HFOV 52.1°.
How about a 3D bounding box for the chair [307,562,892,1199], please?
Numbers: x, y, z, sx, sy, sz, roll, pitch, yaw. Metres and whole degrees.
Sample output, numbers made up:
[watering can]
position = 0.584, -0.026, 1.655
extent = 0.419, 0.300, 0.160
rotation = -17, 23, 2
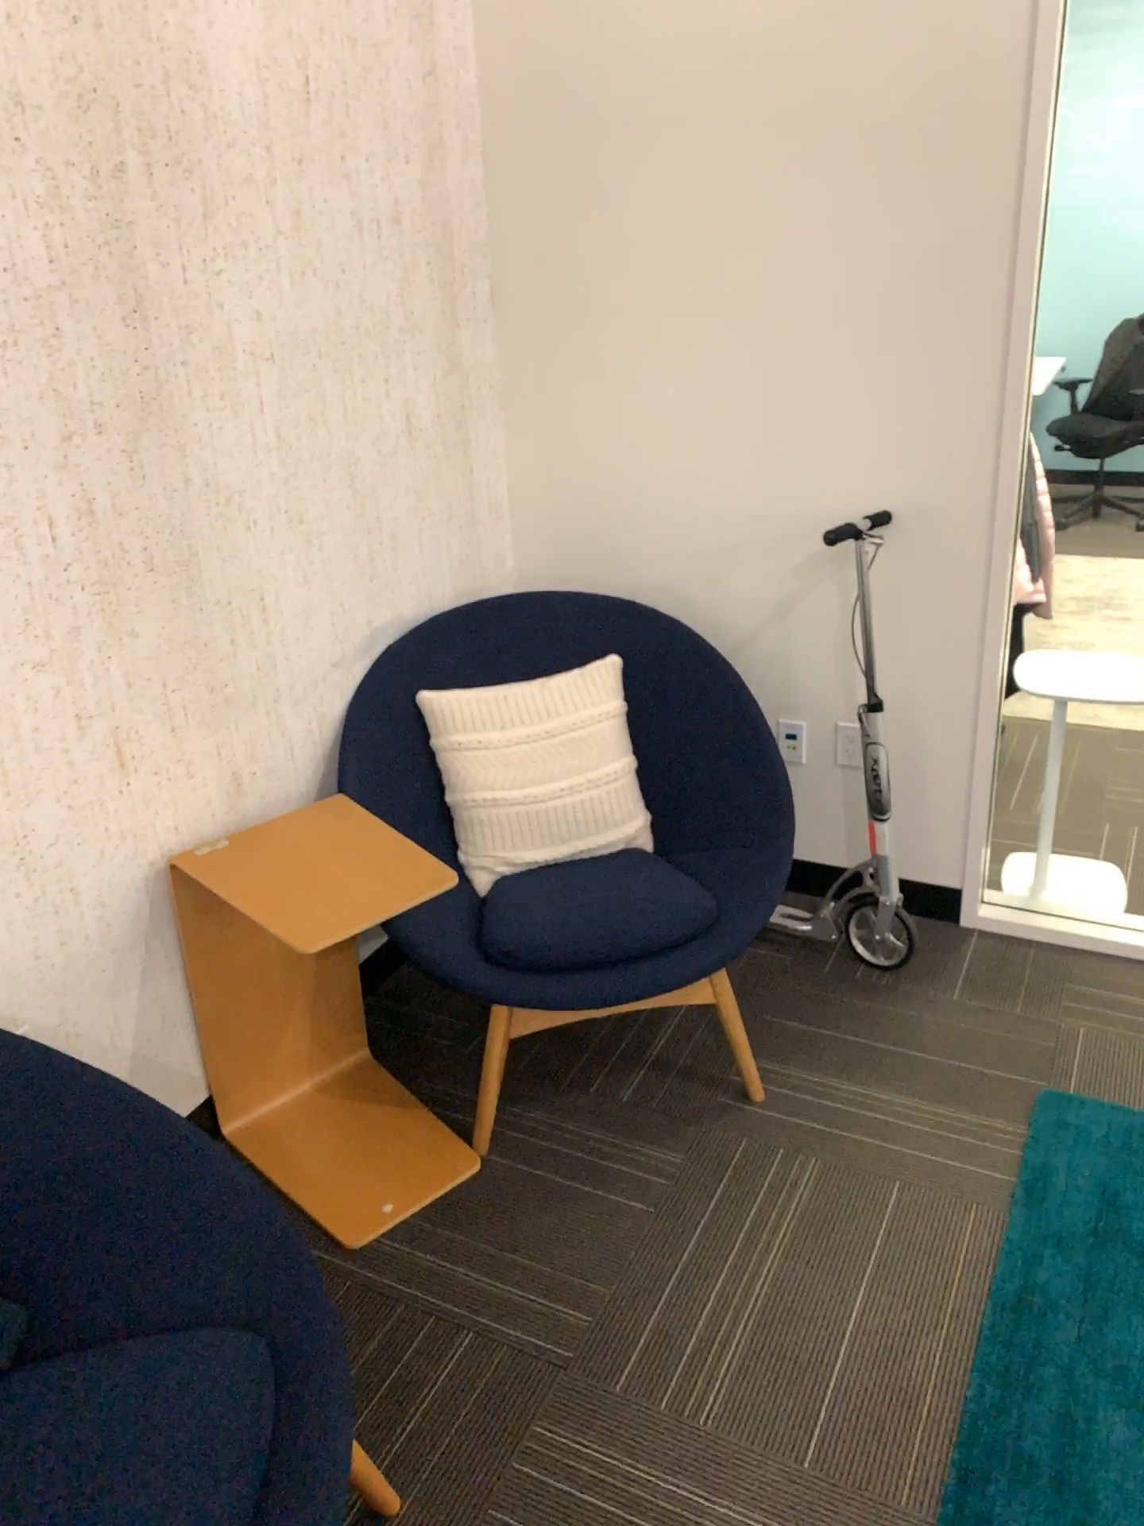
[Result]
[chair]
position = -0.002, 0.146, 2.349
extent = 0.890, 0.816, 0.885
rotation = -9, 24, -12
